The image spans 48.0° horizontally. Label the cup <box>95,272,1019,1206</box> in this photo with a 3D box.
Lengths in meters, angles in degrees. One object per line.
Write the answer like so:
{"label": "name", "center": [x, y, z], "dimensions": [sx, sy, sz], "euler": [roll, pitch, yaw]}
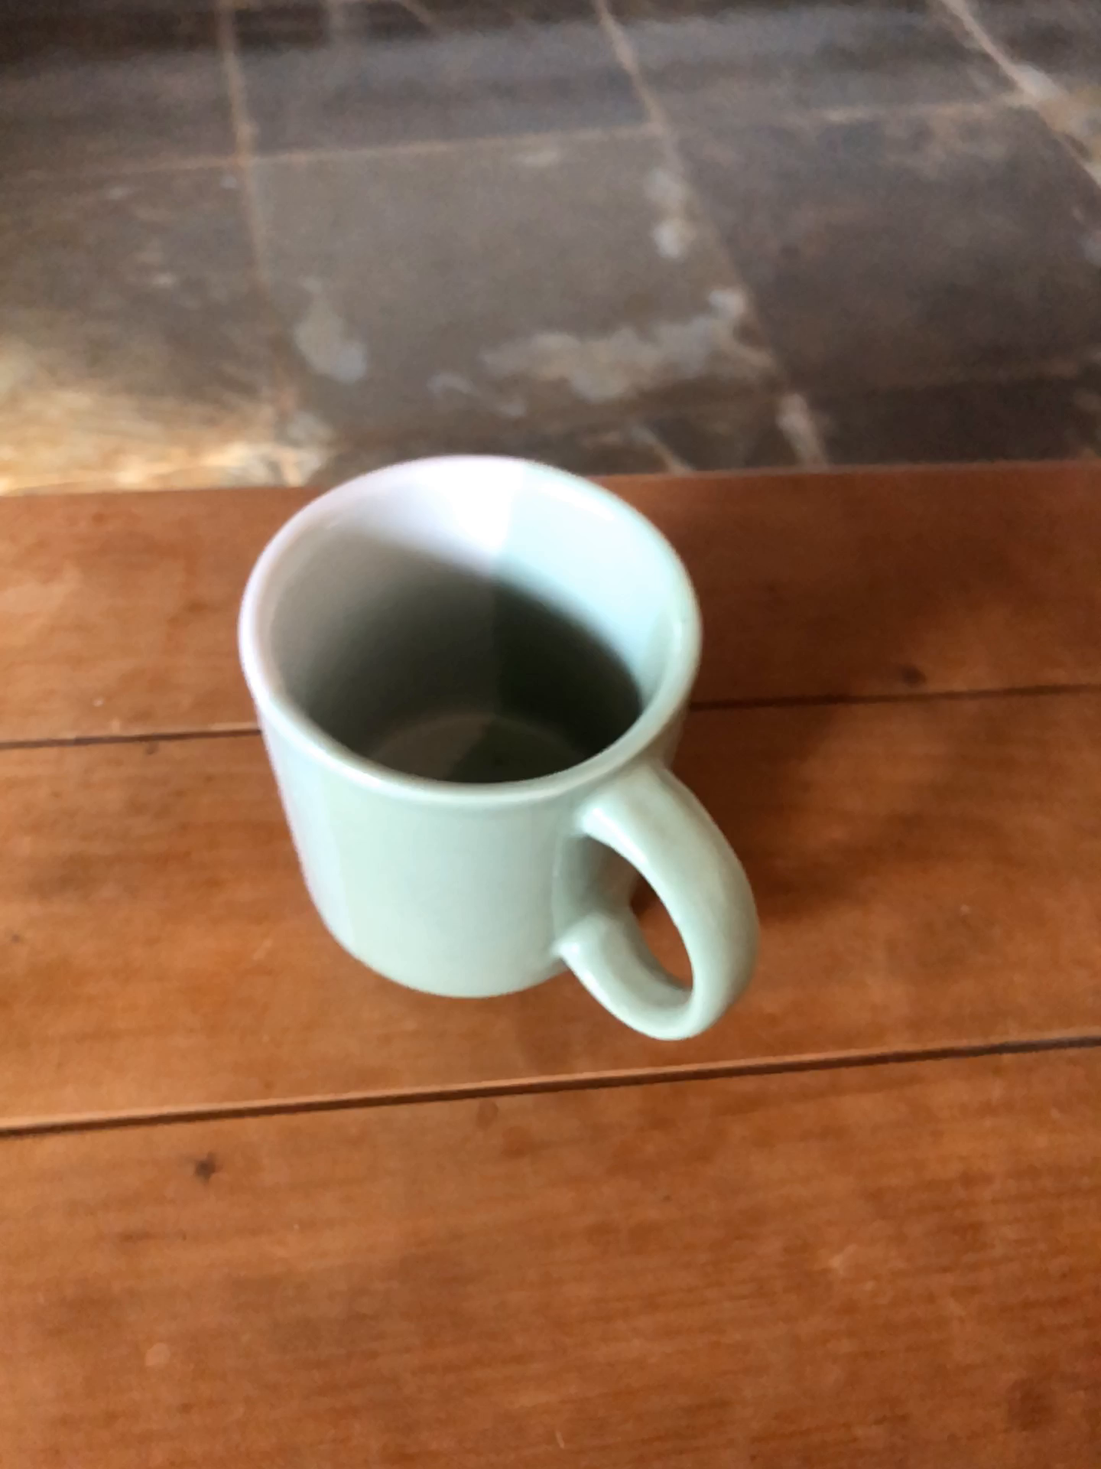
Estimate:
{"label": "cup", "center": [-0.004, -0.001, 0.233], "dimensions": [0.080, 0.089, 0.130], "euler": [-35, 64, -23]}
